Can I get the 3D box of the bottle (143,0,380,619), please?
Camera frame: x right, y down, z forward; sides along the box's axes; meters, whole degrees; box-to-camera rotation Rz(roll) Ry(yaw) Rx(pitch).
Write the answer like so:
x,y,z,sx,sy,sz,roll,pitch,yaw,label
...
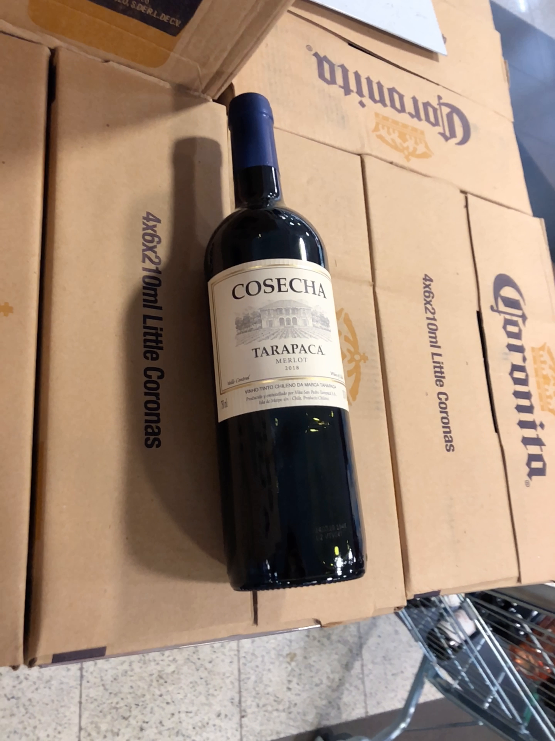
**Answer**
x,y,z,sx,sy,sz,roll,pitch,yaw,label
-0.018,-0.046,0.339,0.070,0.060,0.330,11,64,-43,bottle
